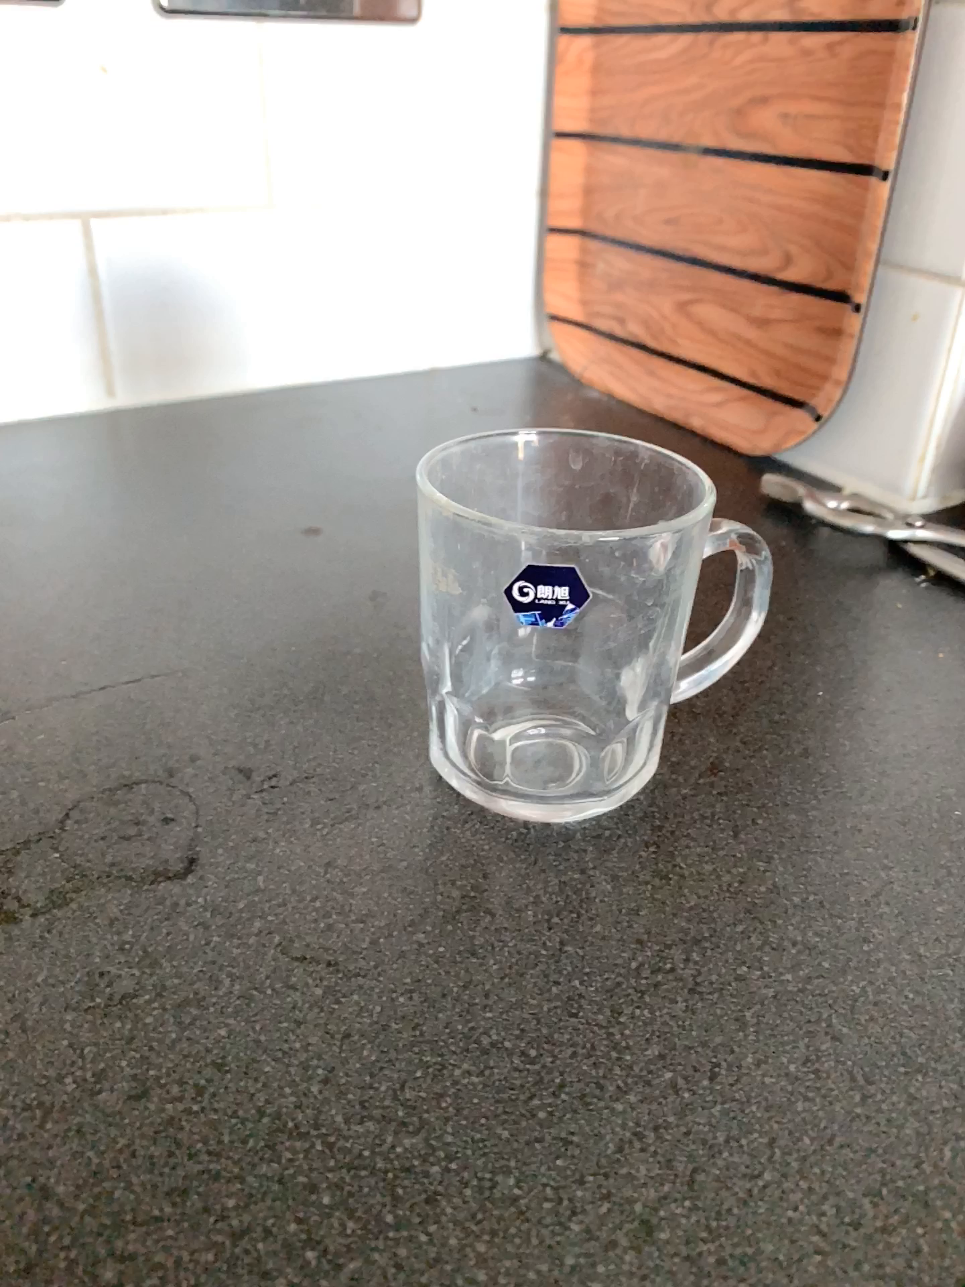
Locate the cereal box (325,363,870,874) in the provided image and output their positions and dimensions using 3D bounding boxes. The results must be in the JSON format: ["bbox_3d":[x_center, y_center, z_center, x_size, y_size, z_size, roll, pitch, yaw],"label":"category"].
[{"bbox_3d":[0.027,-0.015,0.273,0.110,0.089,0.080,-17,34,-29],"label":"cereal box"}]
